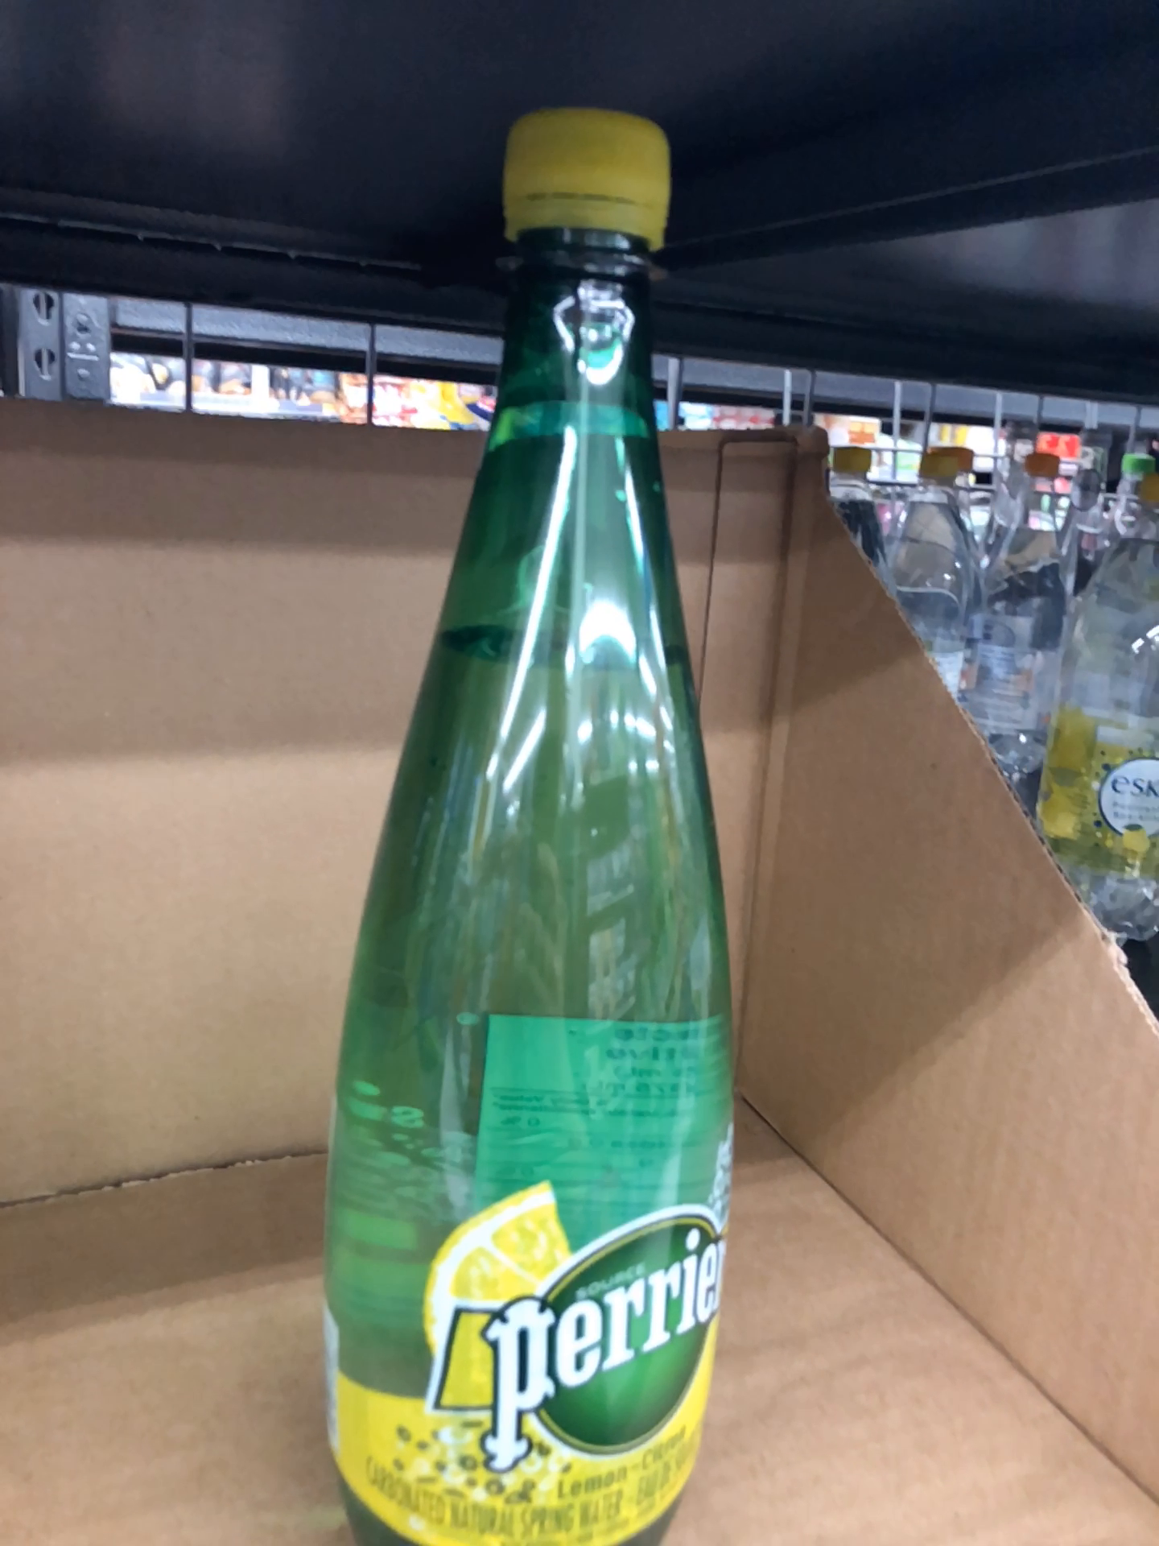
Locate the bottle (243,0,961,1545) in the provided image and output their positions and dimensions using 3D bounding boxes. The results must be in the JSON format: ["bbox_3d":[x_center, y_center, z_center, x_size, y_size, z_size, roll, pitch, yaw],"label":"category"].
[{"bbox_3d":[-0.008,0.026,0.268,0.100,0.318,0.080,-4,16,-30],"label":"bottle"}]
